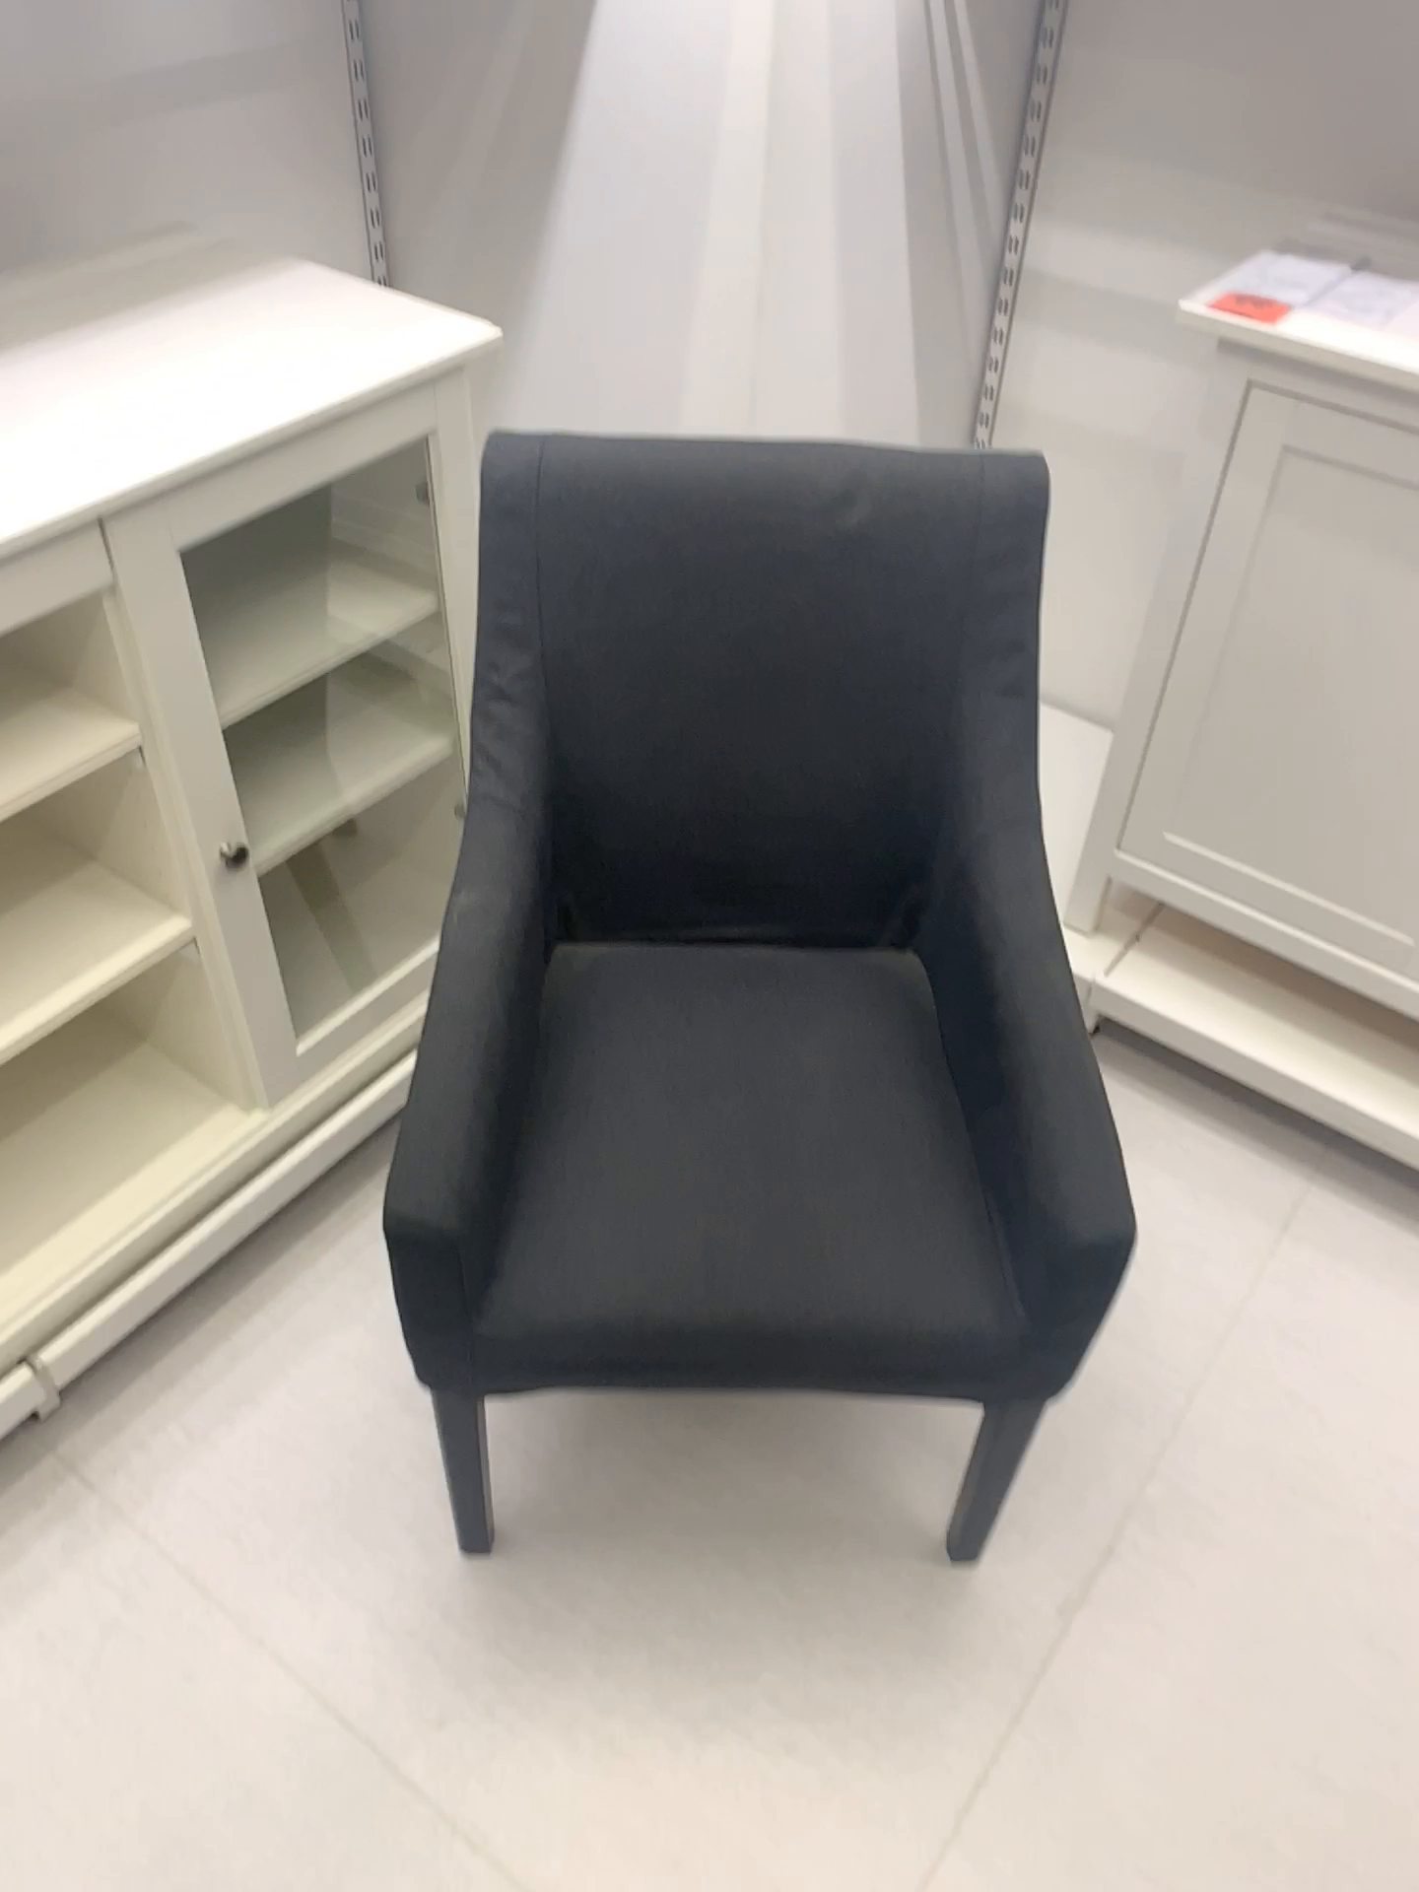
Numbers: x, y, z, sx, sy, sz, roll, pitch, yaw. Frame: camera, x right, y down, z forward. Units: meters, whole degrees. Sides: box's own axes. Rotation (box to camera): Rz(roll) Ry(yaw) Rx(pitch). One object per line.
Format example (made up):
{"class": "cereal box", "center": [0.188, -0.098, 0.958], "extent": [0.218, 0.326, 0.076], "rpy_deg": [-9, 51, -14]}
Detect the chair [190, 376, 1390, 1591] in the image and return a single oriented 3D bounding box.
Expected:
{"class": "chair", "center": [0.032, 0.077, 1.341], "extent": [0.660, 0.946, 0.612], "rpy_deg": [2, 43, -1]}
